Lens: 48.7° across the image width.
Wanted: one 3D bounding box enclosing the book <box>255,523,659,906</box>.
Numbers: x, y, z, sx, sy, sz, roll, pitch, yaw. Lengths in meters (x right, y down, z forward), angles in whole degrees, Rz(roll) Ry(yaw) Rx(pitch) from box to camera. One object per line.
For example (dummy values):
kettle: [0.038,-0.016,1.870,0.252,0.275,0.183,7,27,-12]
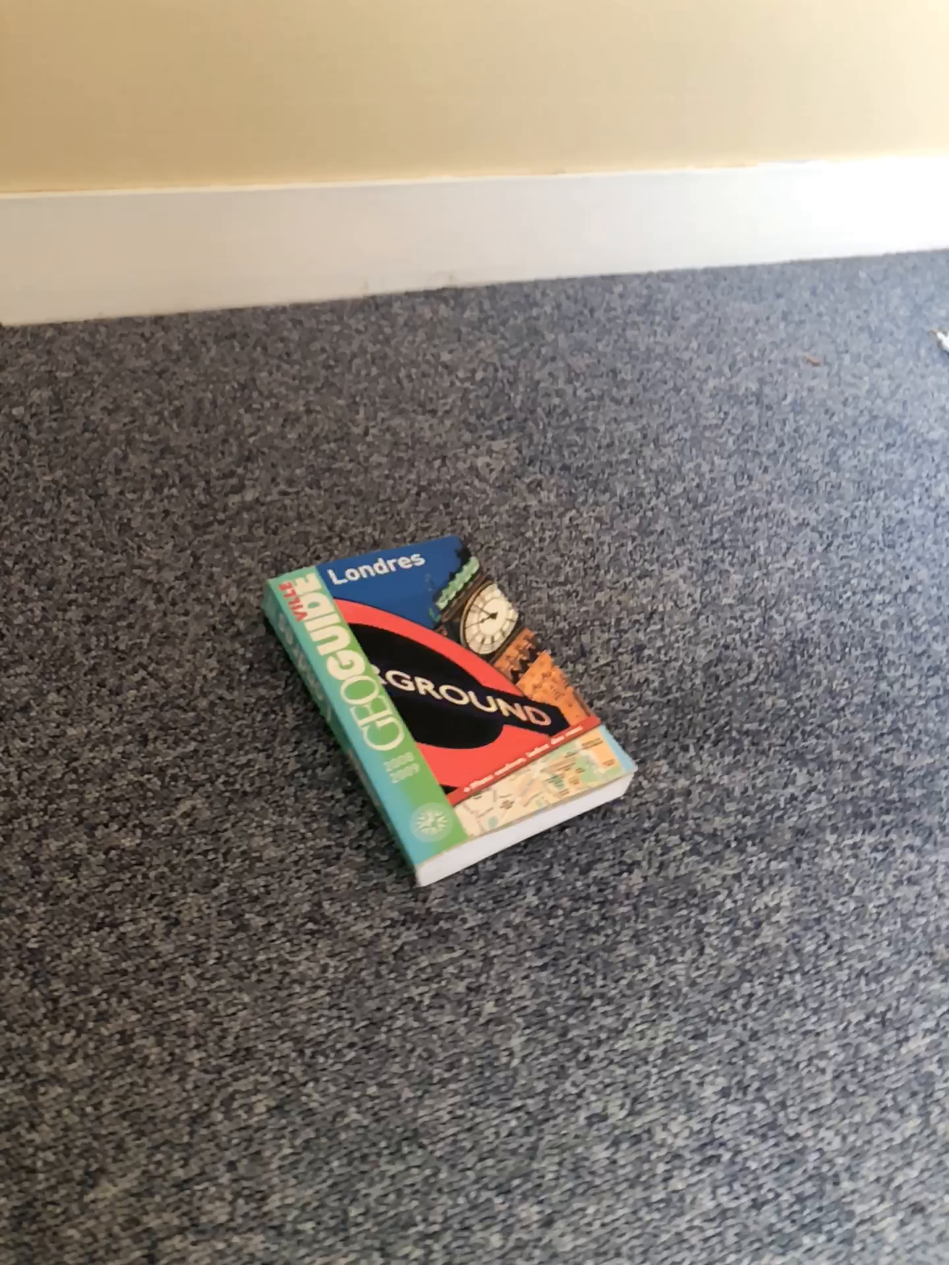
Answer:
book: [-0.017,0.029,0.547,0.130,0.030,0.200,-16,51,-25]
